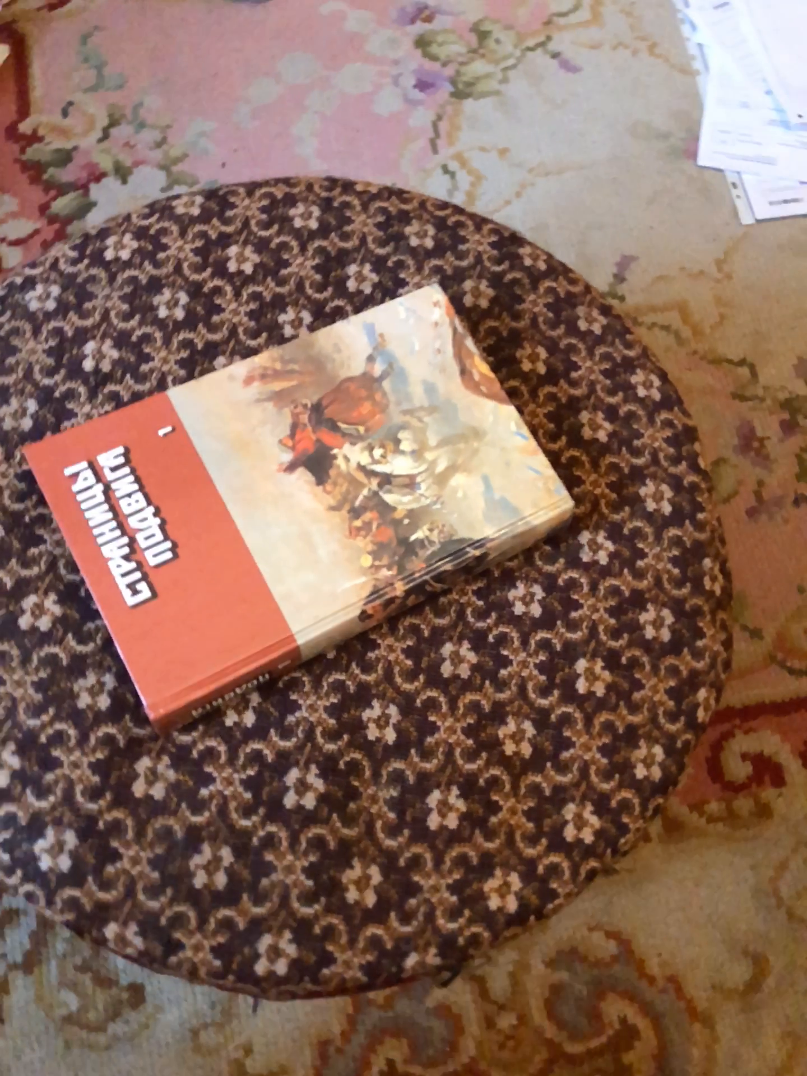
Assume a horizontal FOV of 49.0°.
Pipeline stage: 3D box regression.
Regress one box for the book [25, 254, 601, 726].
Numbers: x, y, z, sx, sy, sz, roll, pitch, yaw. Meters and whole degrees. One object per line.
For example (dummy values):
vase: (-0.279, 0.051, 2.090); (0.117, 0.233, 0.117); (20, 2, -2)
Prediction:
book: (-0.037, -0.028, 0.396); (0.206, 0.040, 0.134); (-26, 77, -15)
